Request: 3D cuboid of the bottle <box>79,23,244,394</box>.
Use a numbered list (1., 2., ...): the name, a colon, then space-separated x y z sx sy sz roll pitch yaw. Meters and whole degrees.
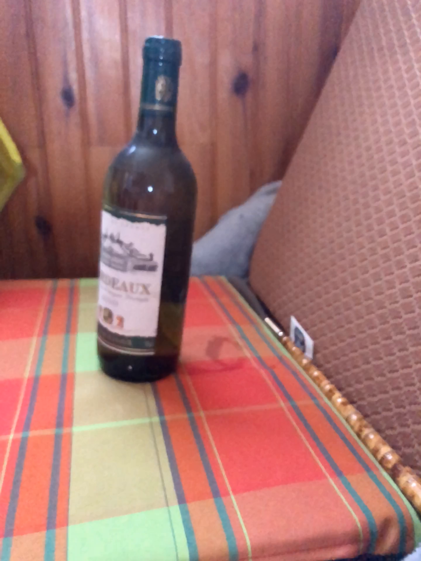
1. bottle: -0.049 -0.053 0.393 0.080 0.269 0.080 7 18 -2
